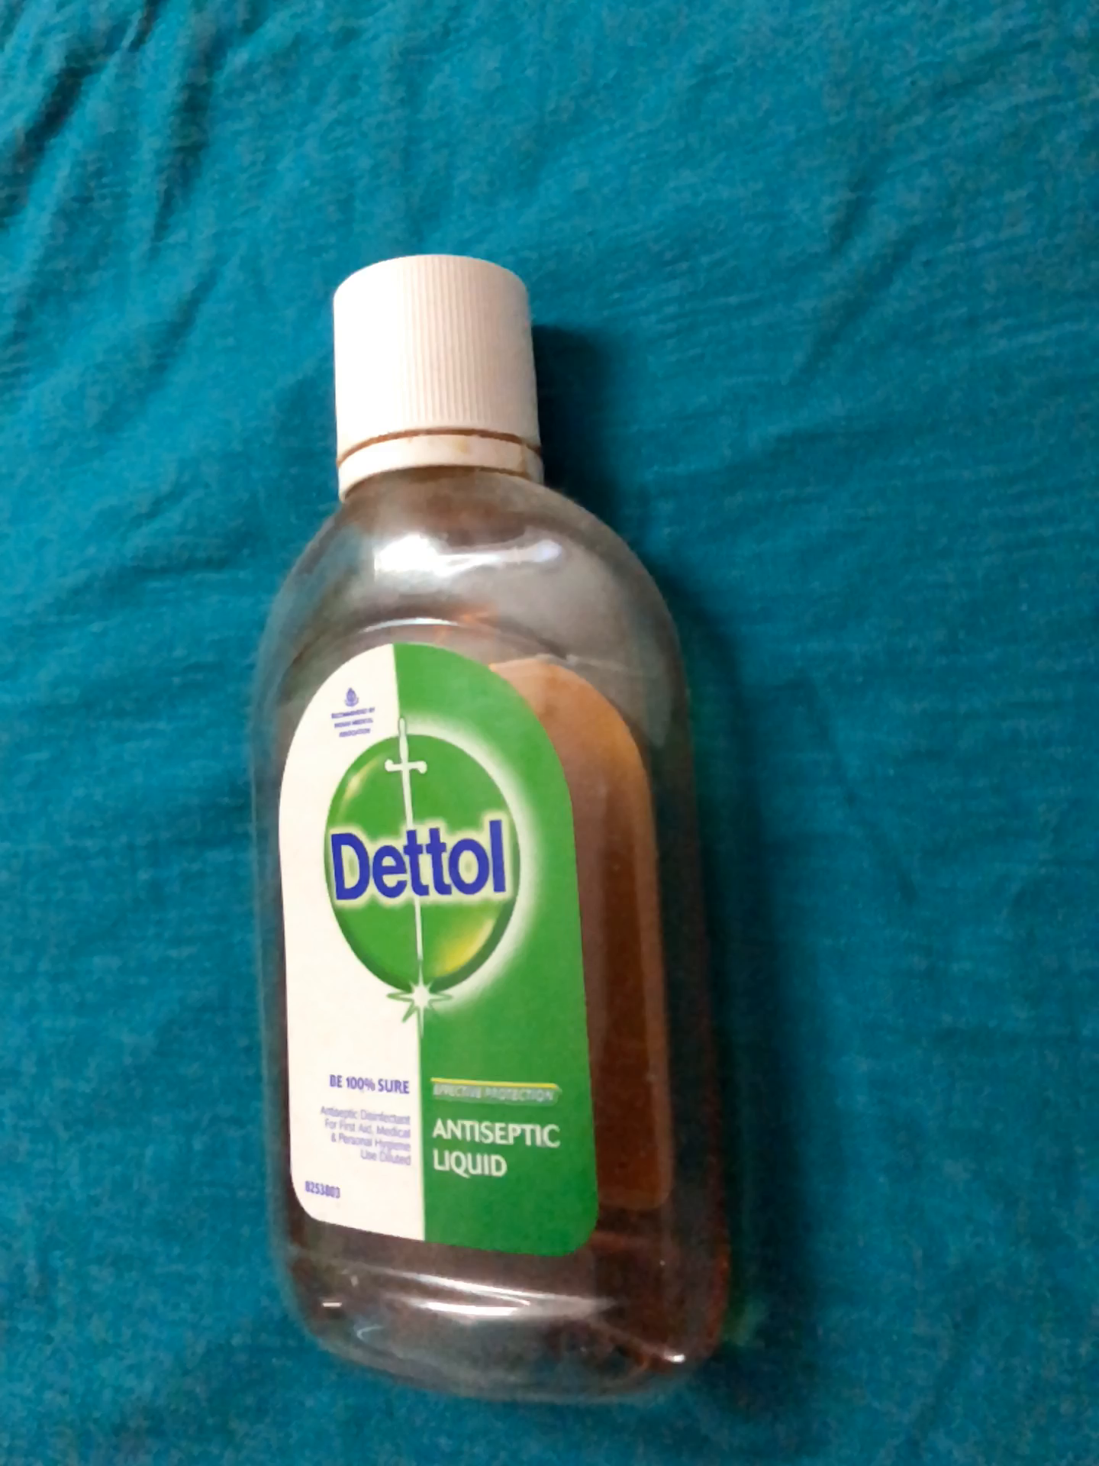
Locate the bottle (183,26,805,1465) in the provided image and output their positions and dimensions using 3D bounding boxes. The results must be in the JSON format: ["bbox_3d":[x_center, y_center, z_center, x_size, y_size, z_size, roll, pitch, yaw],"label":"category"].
[{"bbox_3d":[-0.012,0.001,0.188,0.080,0.040,0.180,-6,82,27],"label":"bottle"}]
